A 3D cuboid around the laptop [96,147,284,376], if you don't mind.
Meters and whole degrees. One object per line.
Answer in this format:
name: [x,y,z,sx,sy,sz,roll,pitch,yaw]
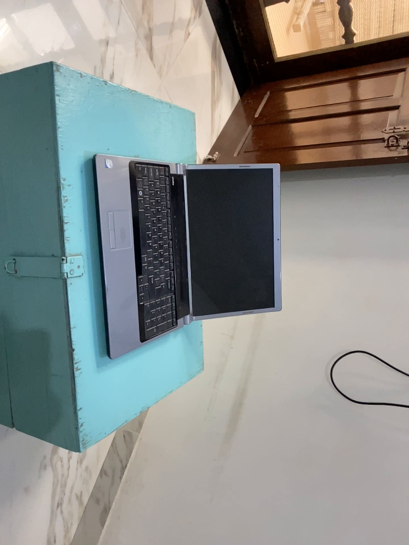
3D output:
laptop: [0.011,-0.054,0.946,0.480,0.178,0.389,-17,108,-58]
